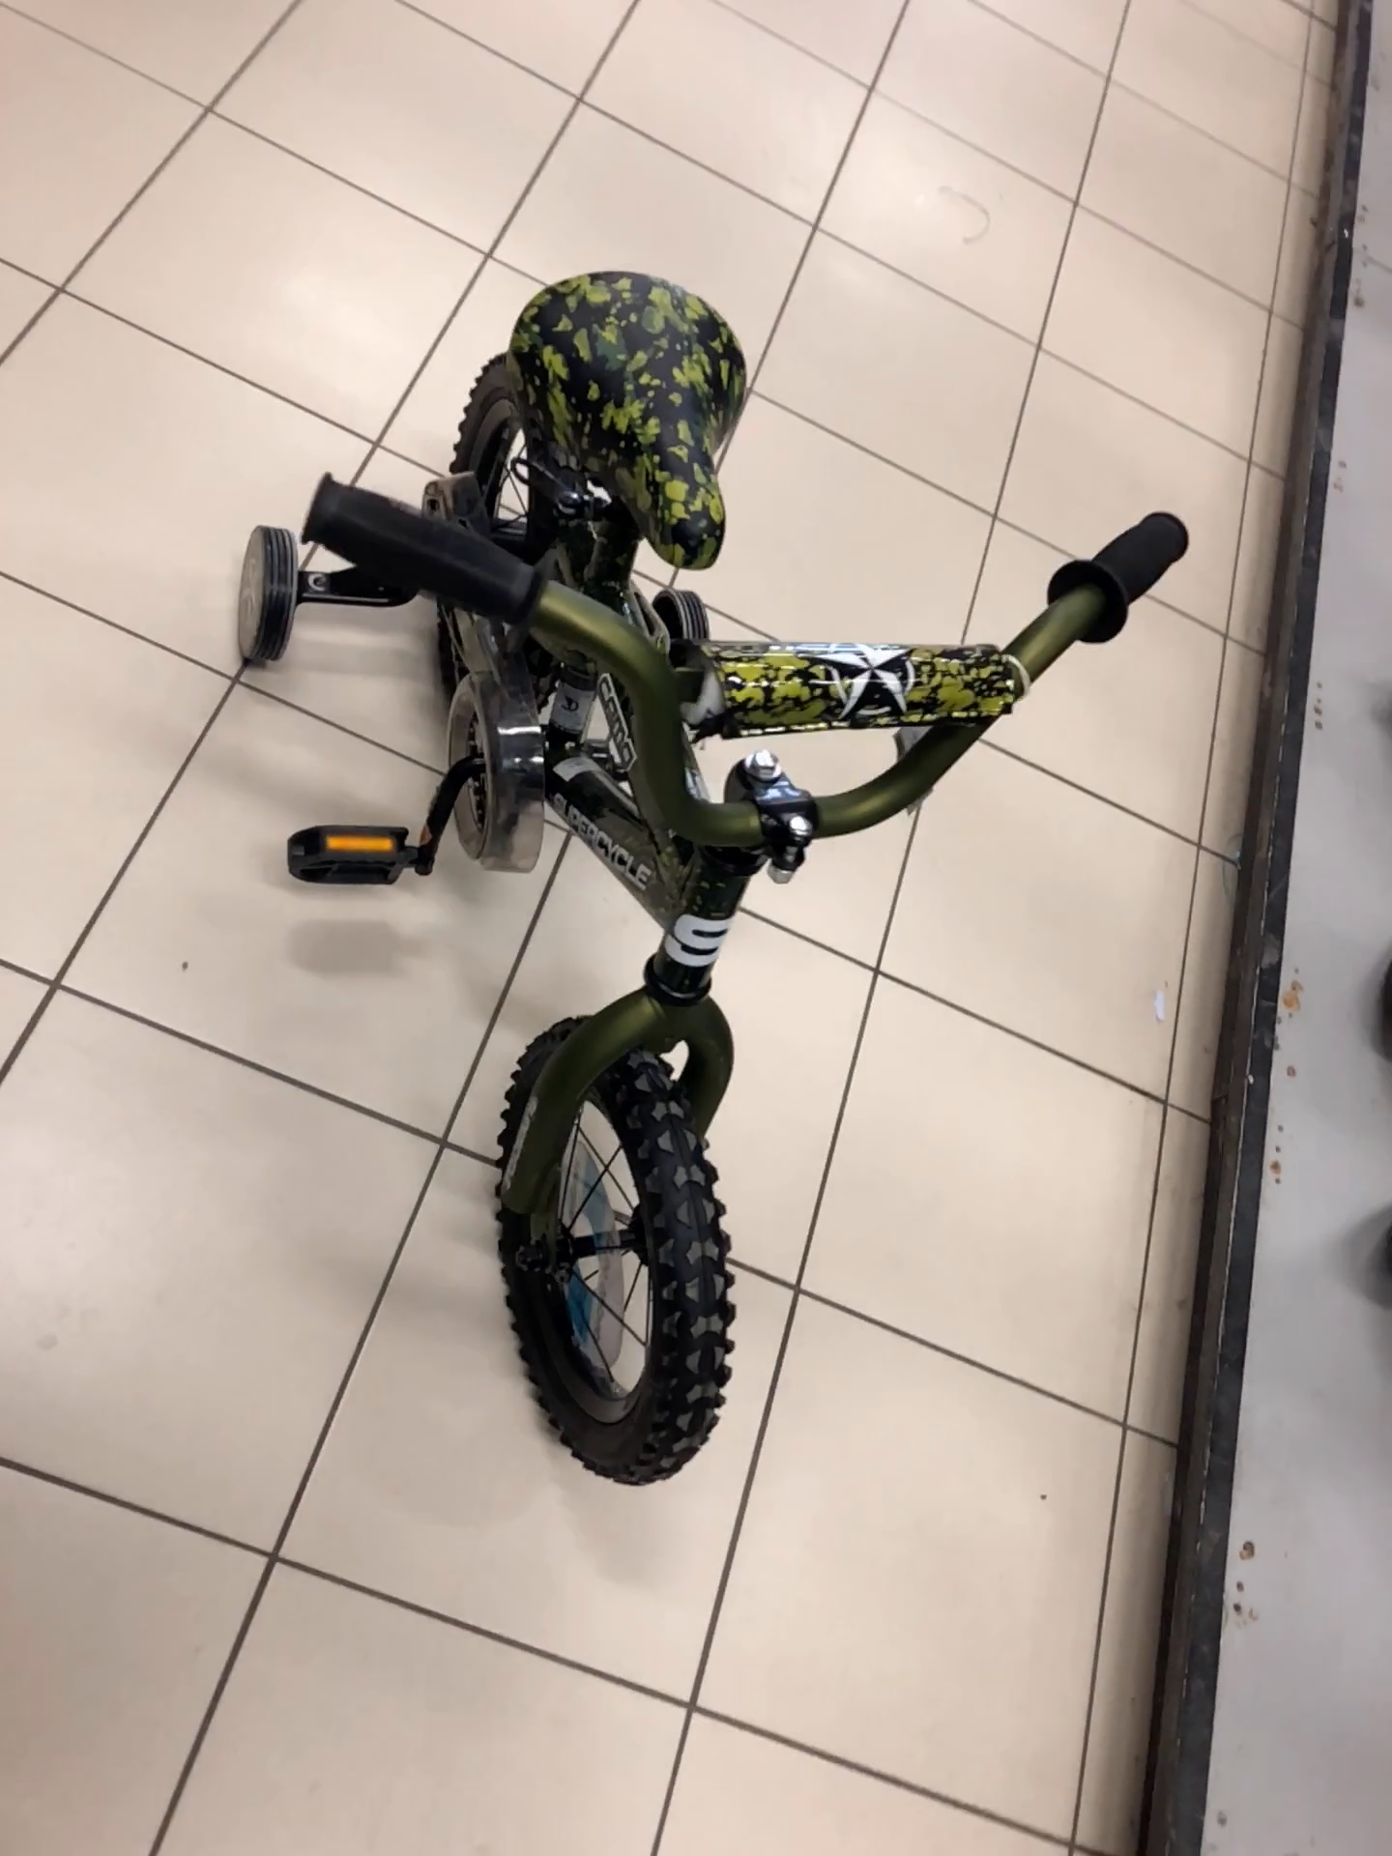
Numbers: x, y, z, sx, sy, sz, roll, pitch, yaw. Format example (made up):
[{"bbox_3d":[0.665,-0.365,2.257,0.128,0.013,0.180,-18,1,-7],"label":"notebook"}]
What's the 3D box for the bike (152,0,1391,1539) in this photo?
[{"bbox_3d":[-0.021,-0.114,0.946,0.533,0.557,0.818,-1,63,-23],"label":"bike"}]
